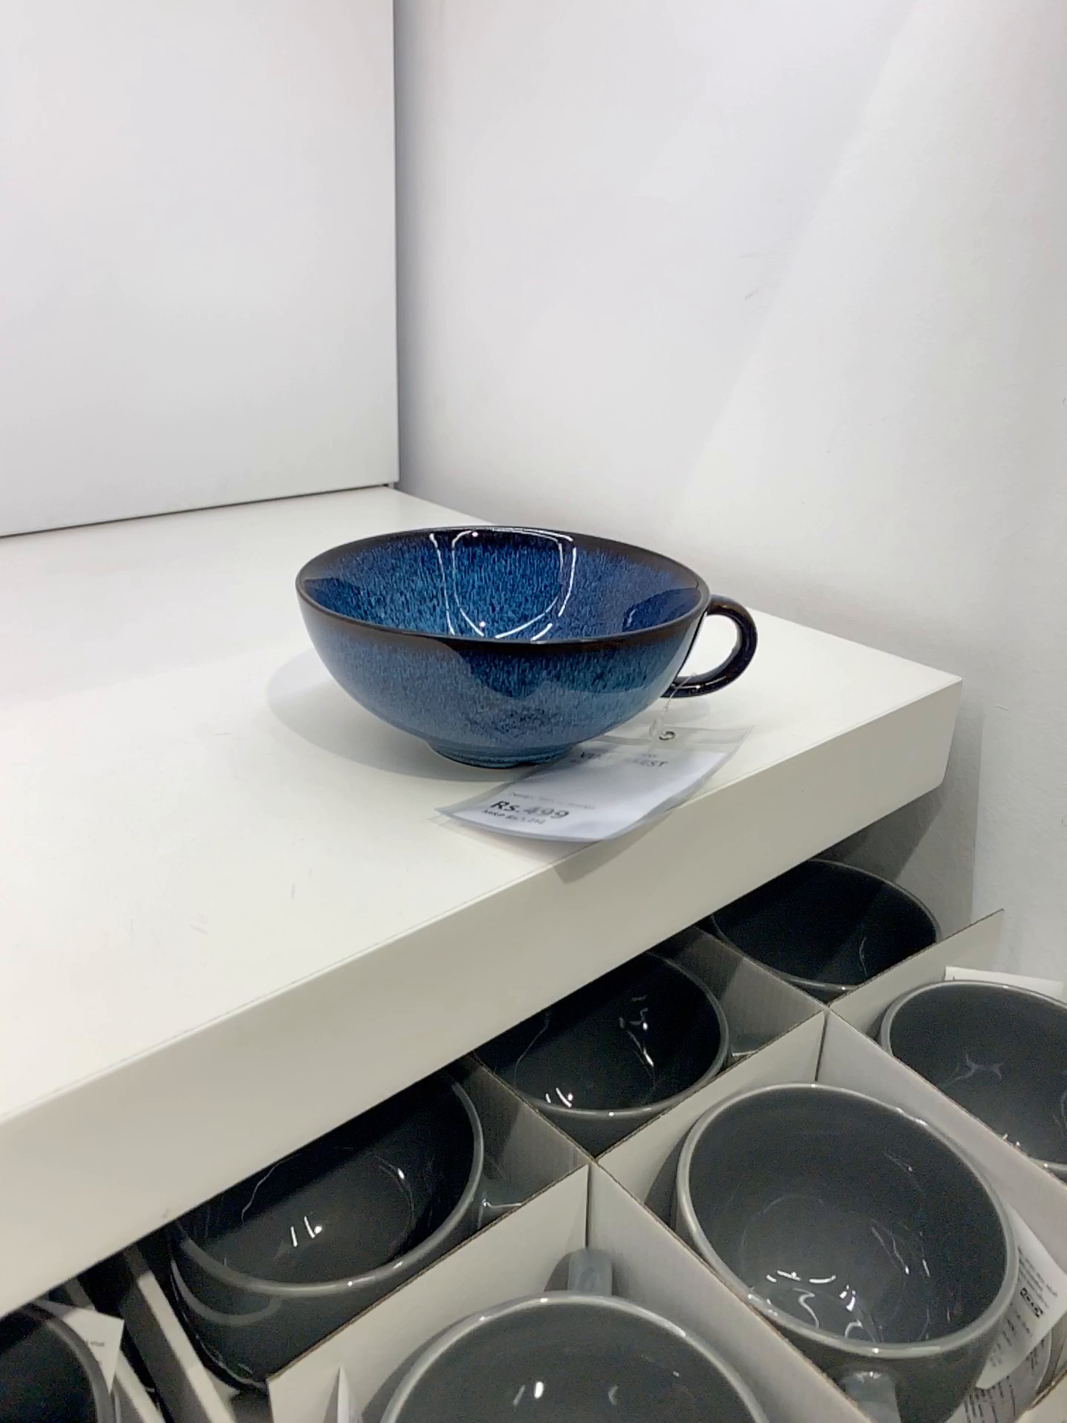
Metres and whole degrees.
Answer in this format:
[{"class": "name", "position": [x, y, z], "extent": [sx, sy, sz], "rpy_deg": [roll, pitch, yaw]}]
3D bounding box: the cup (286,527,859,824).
[{"class": "cup", "position": [0.001, -0.021, 0.370], "extent": [0.160, 0.050, 0.130], "rpy_deg": [-3, 23, -13]}]
